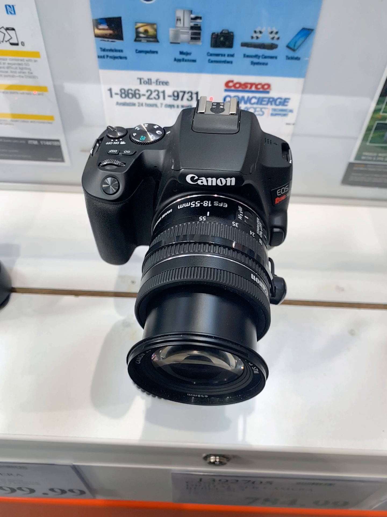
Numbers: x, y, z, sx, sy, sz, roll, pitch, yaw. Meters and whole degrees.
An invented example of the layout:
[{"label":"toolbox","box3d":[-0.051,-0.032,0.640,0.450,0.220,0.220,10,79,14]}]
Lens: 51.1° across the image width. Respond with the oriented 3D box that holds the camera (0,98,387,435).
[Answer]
[{"label":"camera","box3d":[-0.001,-0.004,0.196,0.119,0.079,0.141,2,47,0]}]
